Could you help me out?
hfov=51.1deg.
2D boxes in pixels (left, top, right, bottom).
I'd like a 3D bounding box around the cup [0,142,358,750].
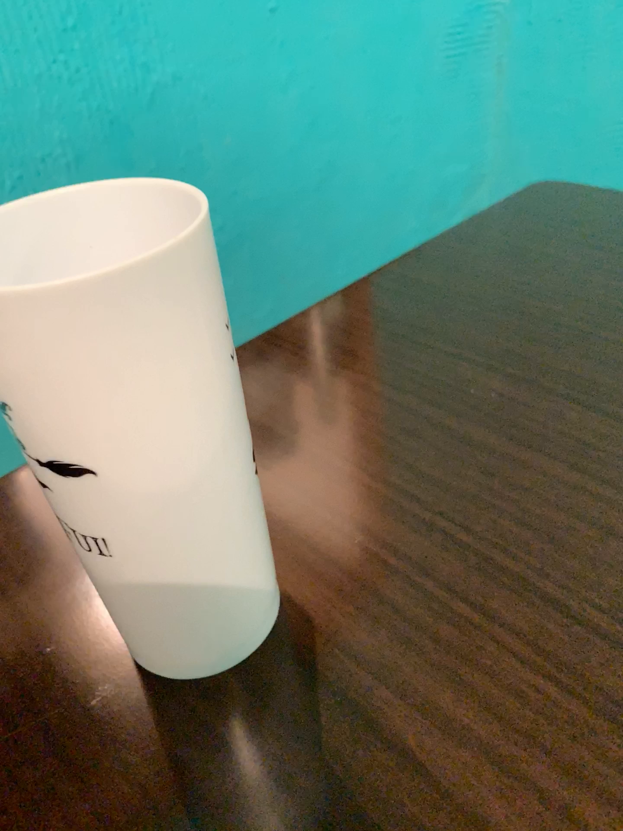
[{"bbox_3d":[-0.040,0.012,0.191,0.070,0.149,0.070,-5,37,4],"label":"cup"}]
